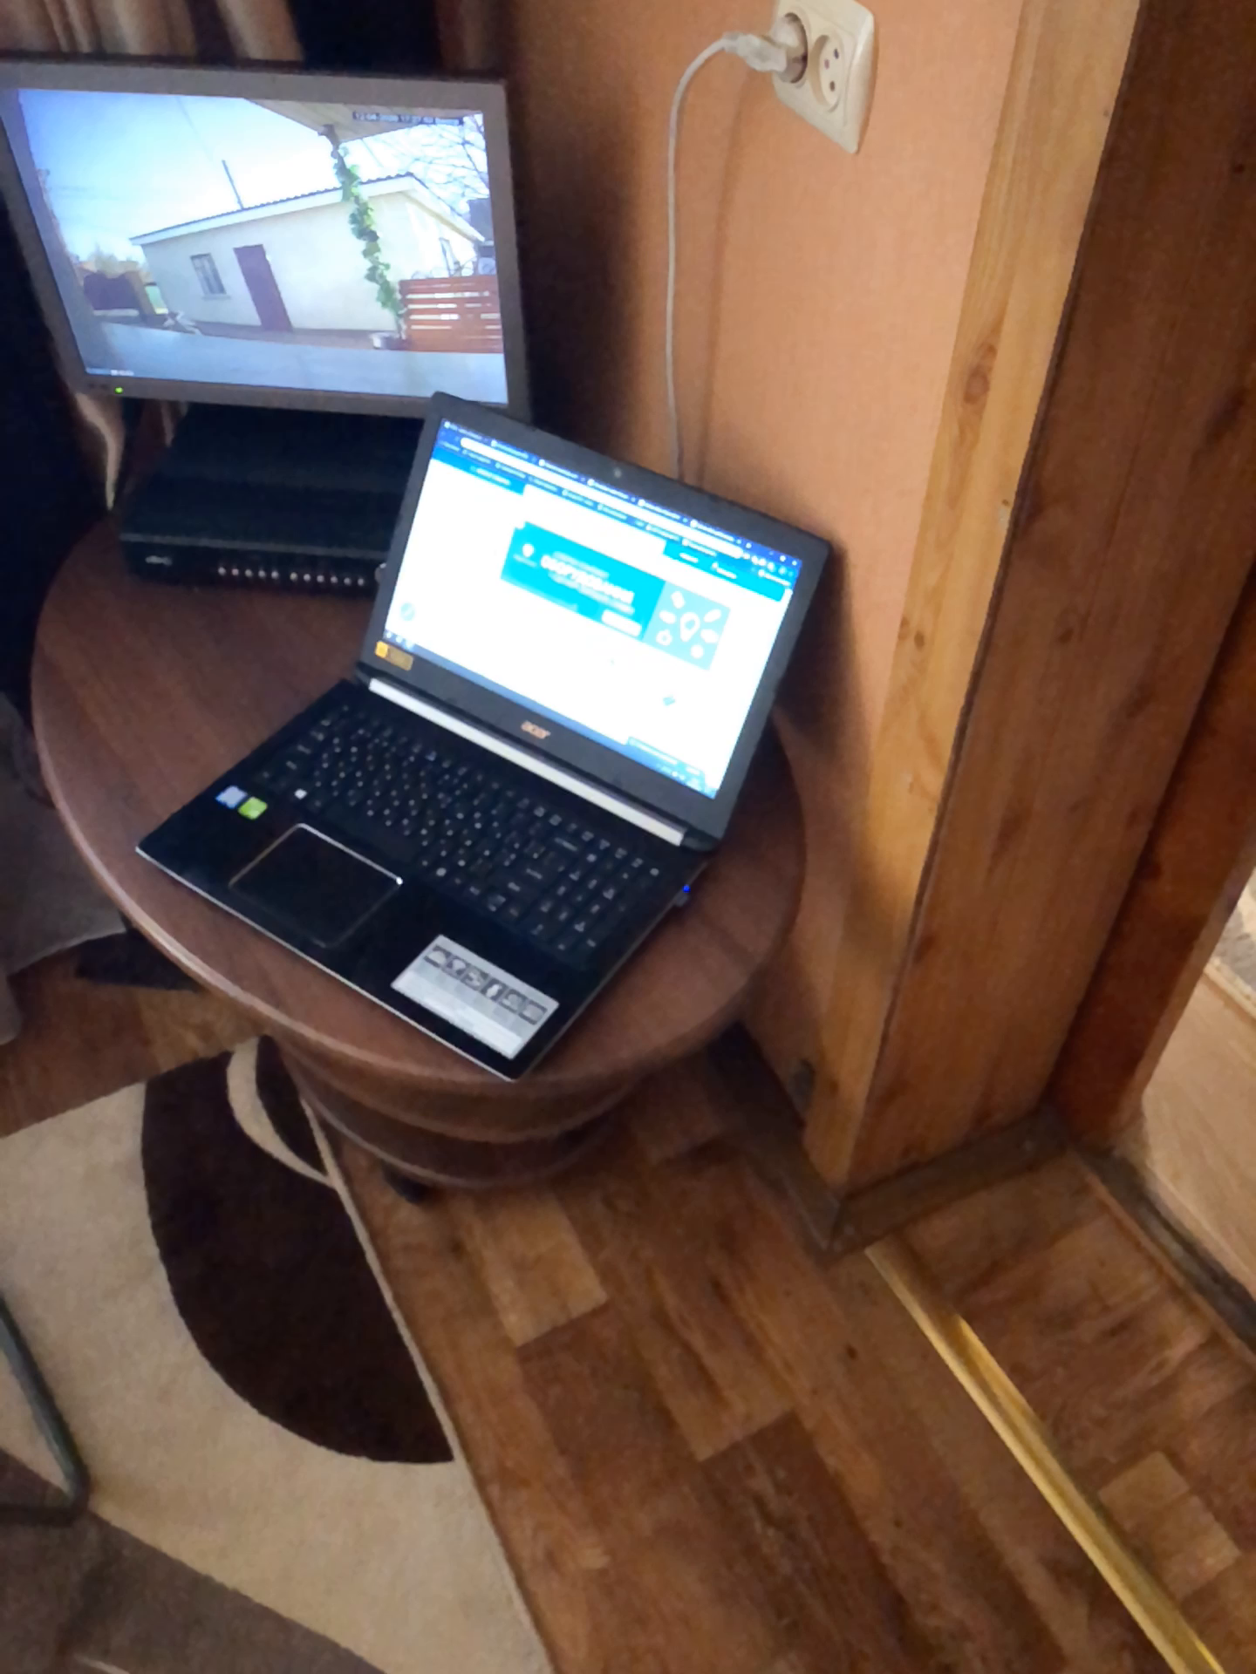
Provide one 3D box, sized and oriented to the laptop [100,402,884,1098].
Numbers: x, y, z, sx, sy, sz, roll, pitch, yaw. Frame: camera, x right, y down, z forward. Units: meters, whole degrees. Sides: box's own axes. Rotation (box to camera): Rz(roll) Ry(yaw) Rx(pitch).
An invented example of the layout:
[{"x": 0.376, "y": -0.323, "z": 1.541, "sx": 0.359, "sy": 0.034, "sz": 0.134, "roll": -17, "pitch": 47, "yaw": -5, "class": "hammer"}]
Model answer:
[{"x": -0.081, "y": -0.091, "z": 1.021, "sx": 0.372, "sy": 0.186, "sz": 0.391, "roll": 27, "pitch": 54, "yaw": 22, "class": "laptop"}]
